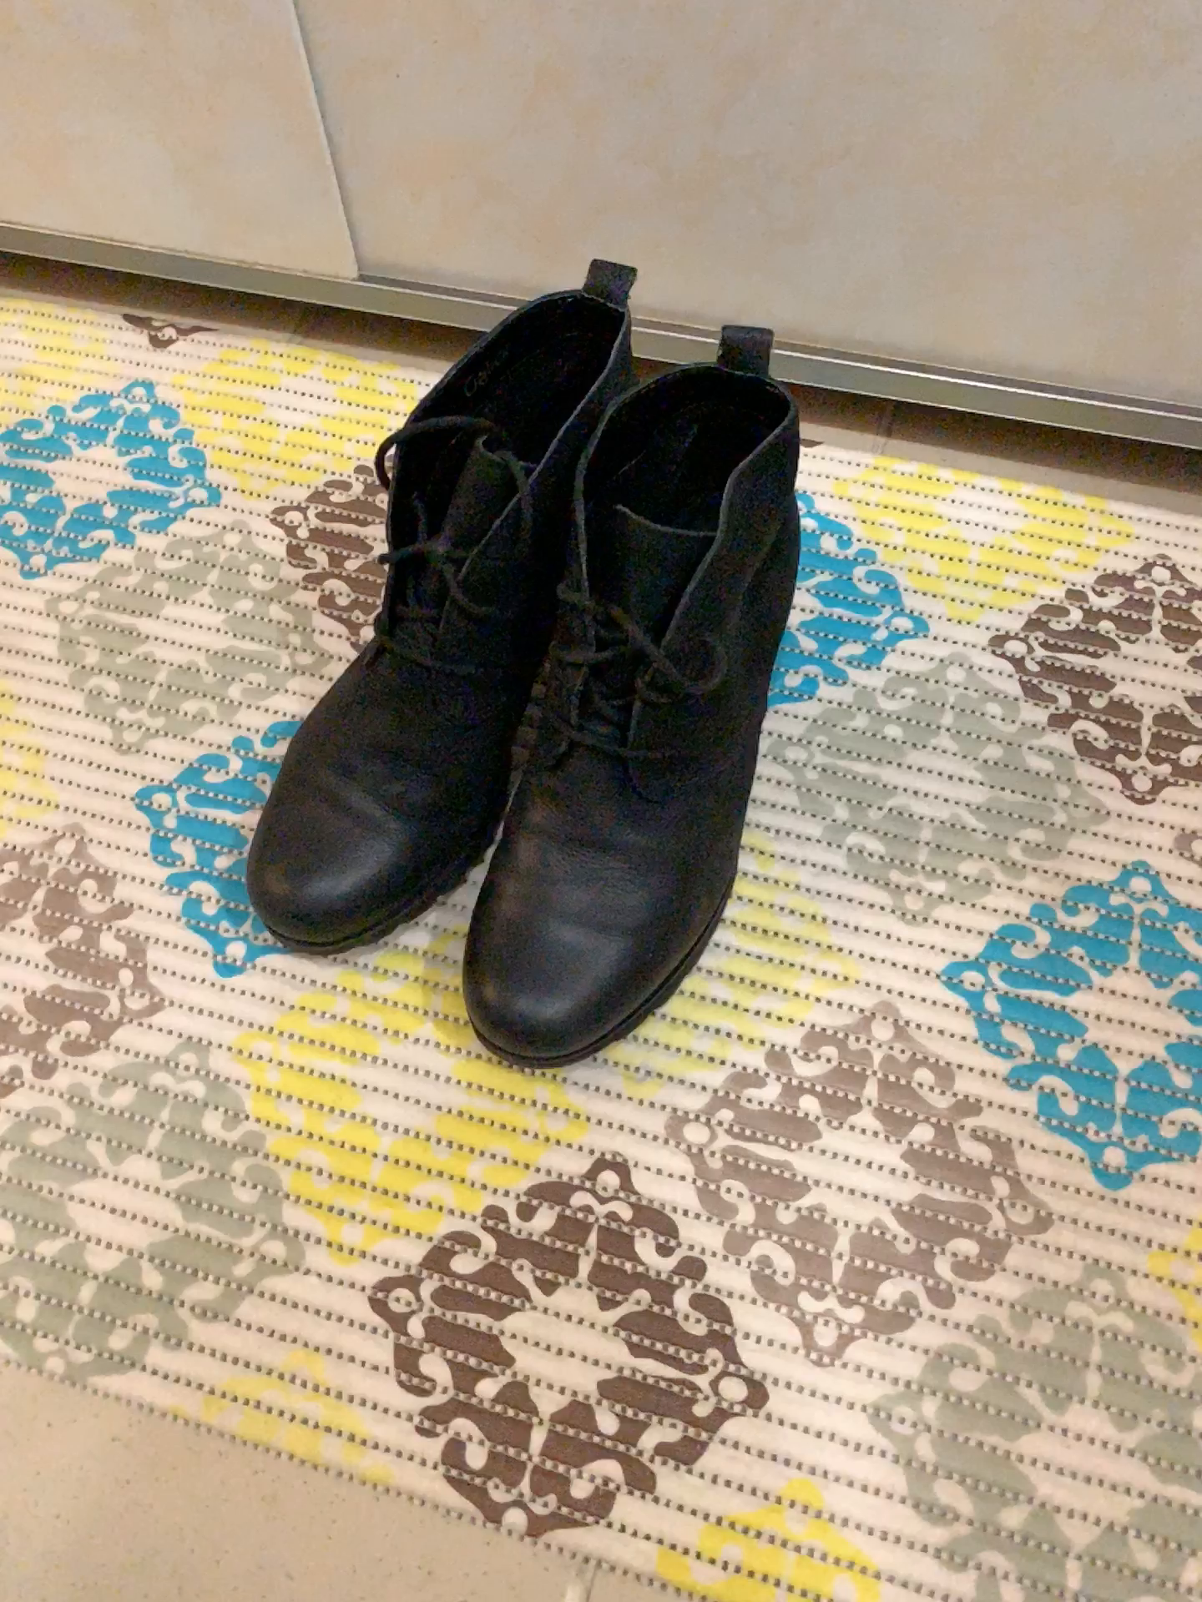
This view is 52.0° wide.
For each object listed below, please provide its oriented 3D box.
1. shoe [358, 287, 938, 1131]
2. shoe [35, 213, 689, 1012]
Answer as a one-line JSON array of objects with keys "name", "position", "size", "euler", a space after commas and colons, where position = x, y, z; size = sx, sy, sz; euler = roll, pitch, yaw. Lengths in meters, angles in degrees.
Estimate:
[{"name": "shoe", "position": [0.025, -0.028, 0.423], "size": [0.090, 0.150, 0.230], "euler": [19, 65, 11]}, {"name": "shoe", "position": [-0.063, -0.065, 0.447], "size": [0.090, 0.150, 0.230], "euler": [25, 67, 14]}]
